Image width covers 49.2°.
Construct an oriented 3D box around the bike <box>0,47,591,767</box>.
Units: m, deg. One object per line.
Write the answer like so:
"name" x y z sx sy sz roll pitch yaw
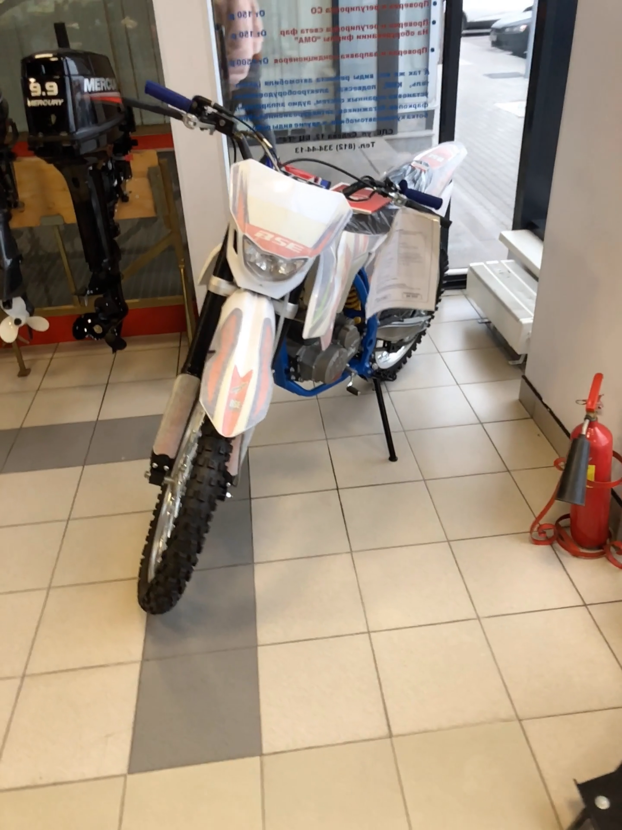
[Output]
"bike" 0.182 -0.313 2.091 0.843 1.220 1.852 13 37 24
